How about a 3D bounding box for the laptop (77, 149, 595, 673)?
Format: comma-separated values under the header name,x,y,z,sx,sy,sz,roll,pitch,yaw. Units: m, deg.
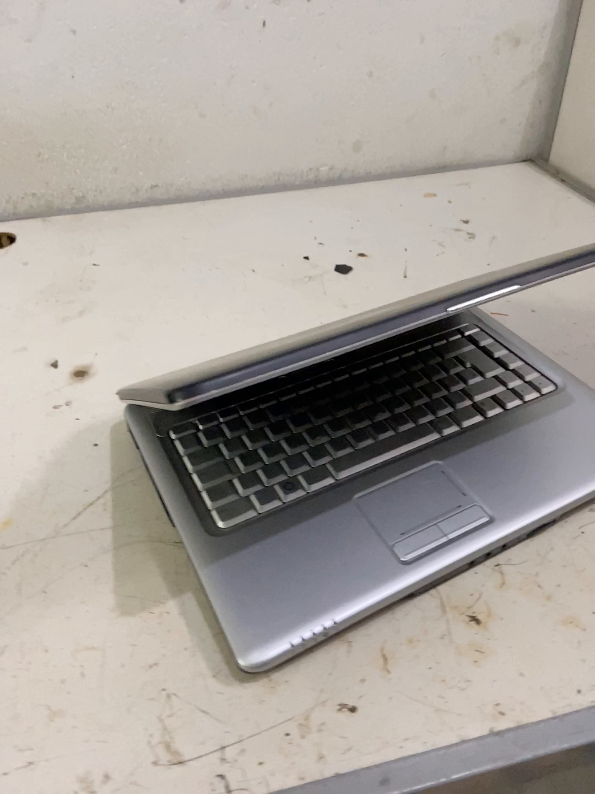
name,x,y,z,sx,sy,sz,roll,pitch,yaw
laptop,0.066,-0.033,0.425,0.347,0.145,0.238,-19,43,-21
